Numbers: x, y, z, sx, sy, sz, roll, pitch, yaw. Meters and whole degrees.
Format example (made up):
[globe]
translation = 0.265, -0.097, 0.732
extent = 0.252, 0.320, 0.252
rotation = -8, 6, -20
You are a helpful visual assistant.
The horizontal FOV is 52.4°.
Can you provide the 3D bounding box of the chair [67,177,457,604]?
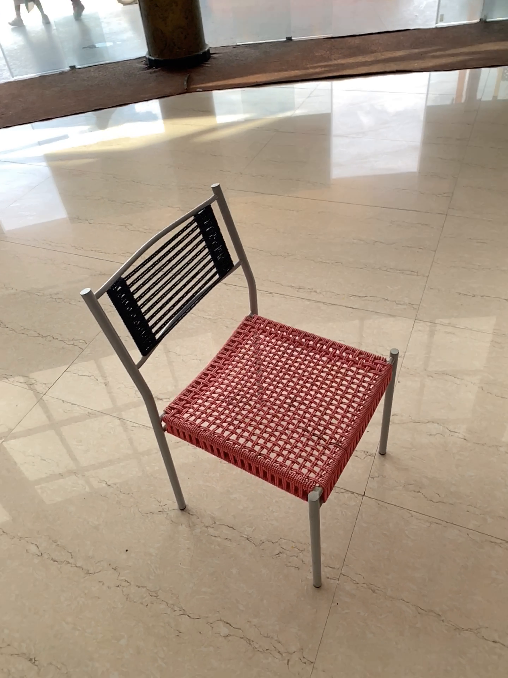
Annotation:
[chair]
translation = 0.065, 0.111, 1.260
extent = 0.581, 0.734, 0.533
rotation = 18, 48, 25
